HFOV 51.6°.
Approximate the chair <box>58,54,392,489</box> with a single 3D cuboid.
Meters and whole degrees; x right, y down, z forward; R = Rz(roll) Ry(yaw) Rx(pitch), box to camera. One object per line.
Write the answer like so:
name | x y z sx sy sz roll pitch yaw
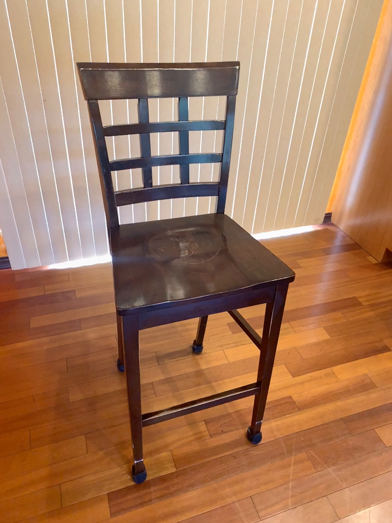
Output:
chair | -0.008 0.016 1.133 0.537 0.987 0.589 -10 37 -19
